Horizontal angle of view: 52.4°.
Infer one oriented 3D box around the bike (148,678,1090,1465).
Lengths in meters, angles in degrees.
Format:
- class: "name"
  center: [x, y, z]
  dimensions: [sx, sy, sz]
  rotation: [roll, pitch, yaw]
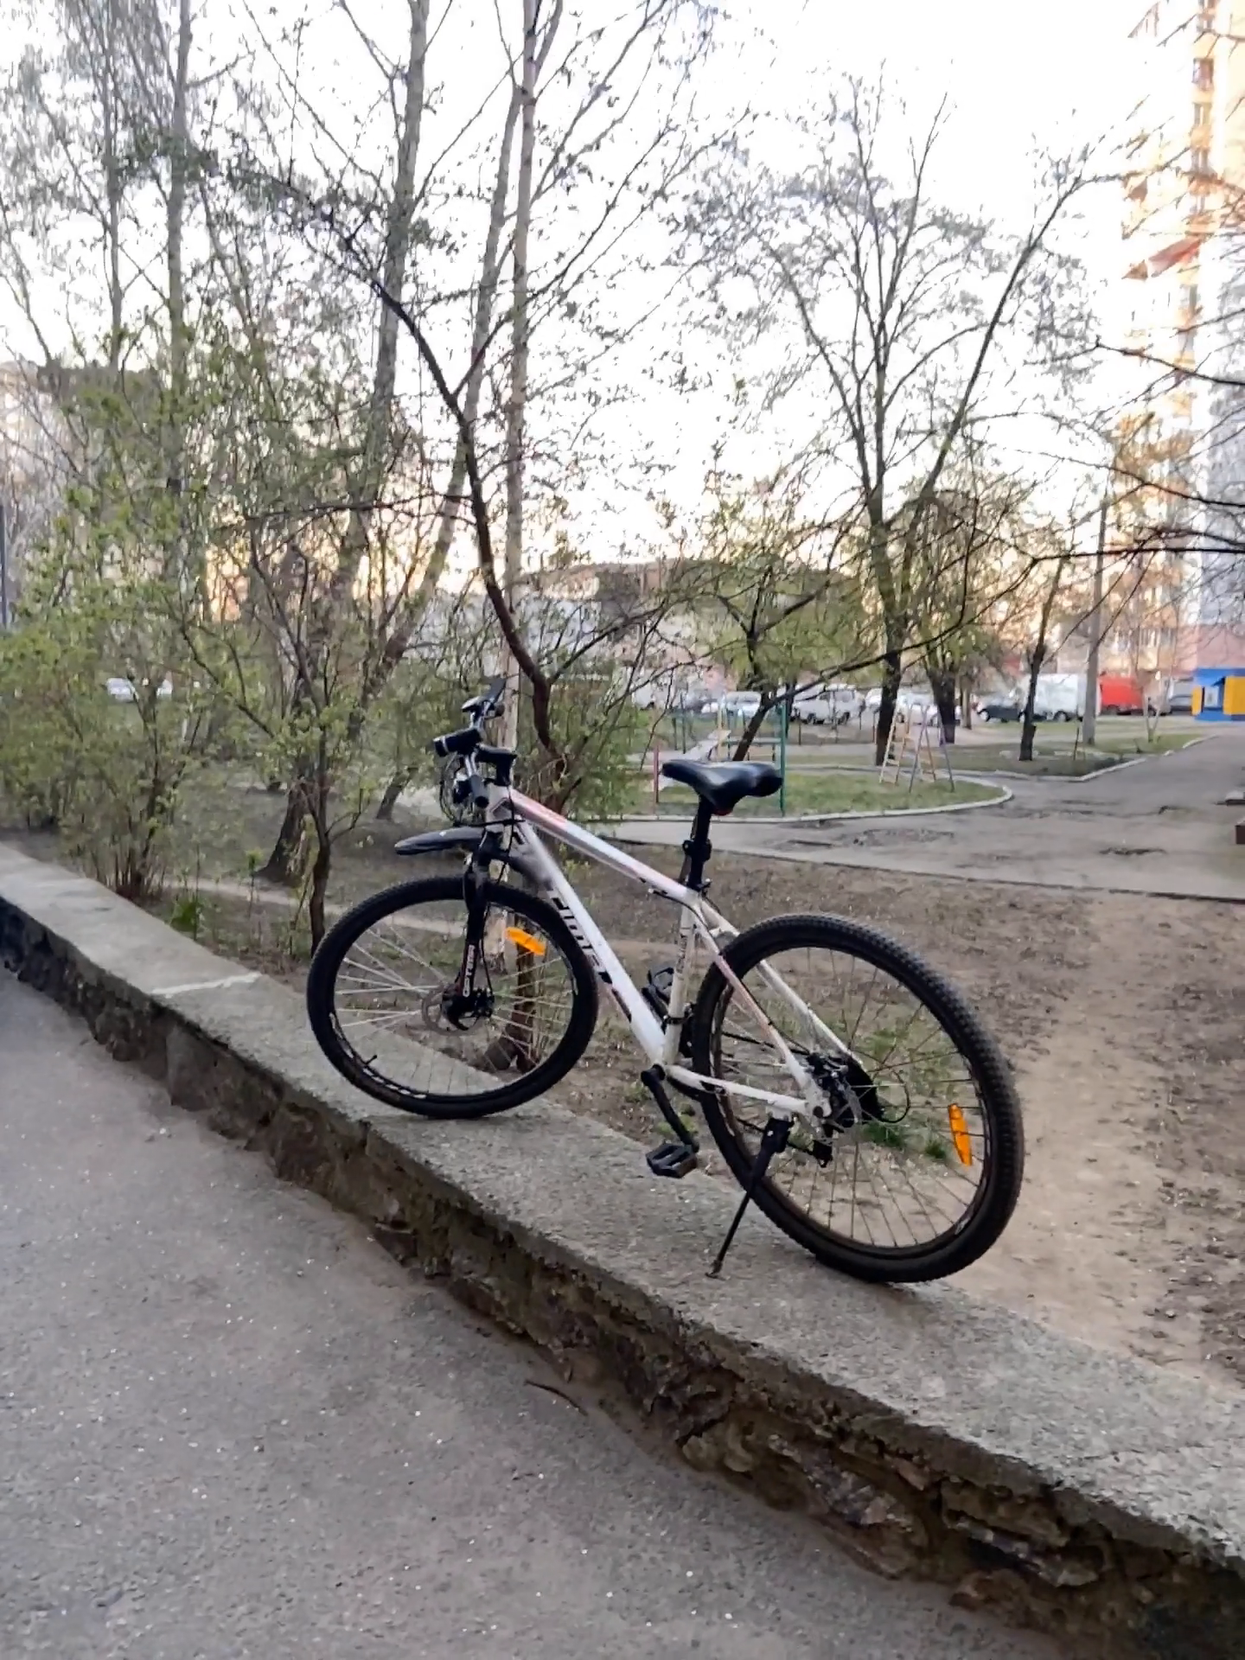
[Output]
- class: "bike"
  center: [-0.099, 0.321, 2.565]
  dimensions: [1.749, 1.149, 0.679]
  rotation: [2, 6, 35]
